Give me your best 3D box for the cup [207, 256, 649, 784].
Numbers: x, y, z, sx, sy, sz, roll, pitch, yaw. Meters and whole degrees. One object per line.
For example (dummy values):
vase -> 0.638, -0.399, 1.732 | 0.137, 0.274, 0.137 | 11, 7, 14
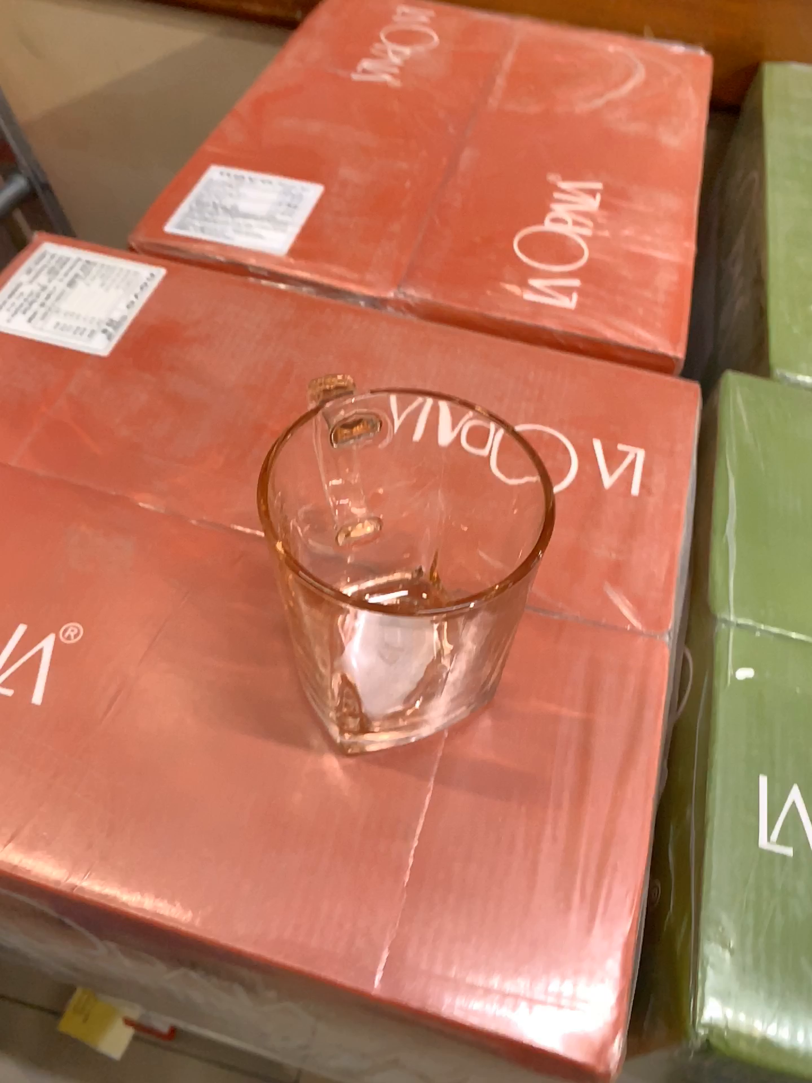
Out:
cup -> -0.002, -0.005, 0.261 | 0.080, 0.110, 0.100 | -17, 57, -16
